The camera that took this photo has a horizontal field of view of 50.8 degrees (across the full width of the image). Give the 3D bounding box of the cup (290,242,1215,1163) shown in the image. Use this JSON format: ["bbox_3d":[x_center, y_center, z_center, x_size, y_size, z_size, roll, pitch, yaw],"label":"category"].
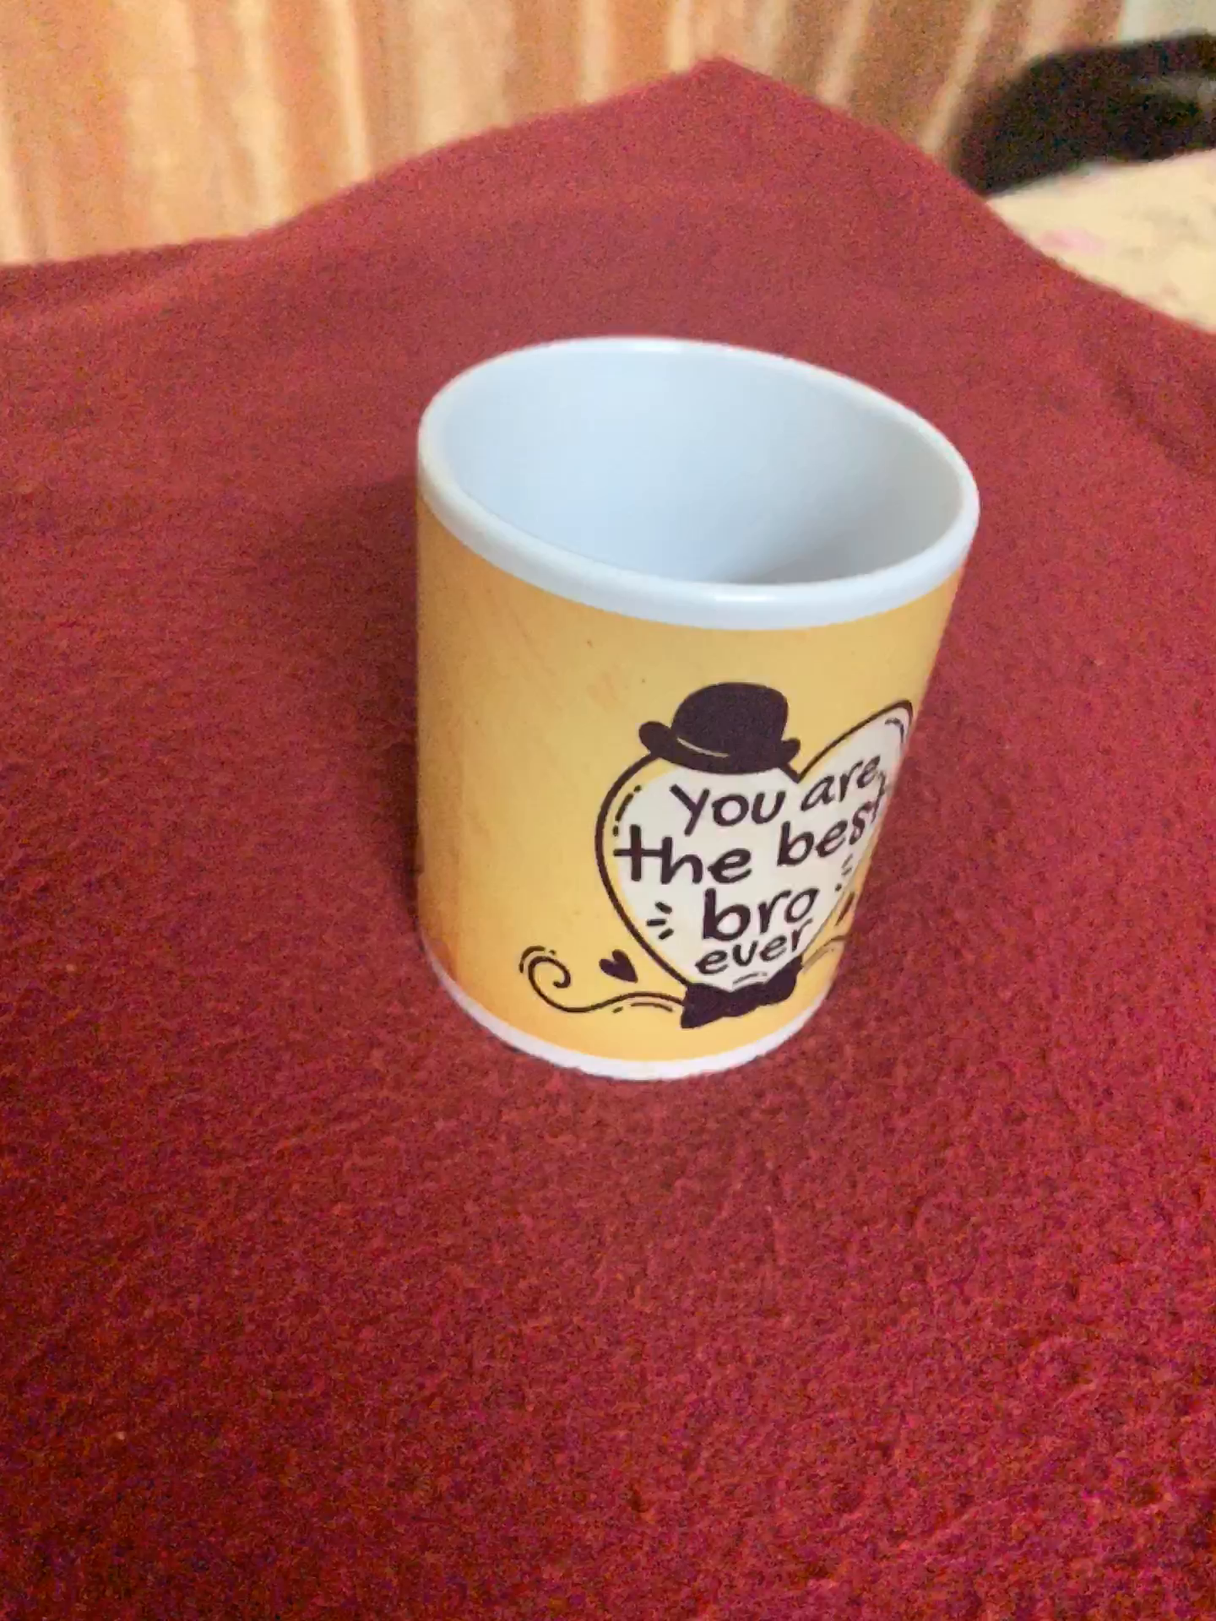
[{"bbox_3d":[0.018,-0.025,0.220,0.110,0.109,0.080,-18,42,-25],"label":"cup"}]

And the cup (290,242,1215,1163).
[{"bbox_3d":[0.018,-0.025,0.220,0.110,0.109,0.080,-18,42,-25],"label":"cup"}]
